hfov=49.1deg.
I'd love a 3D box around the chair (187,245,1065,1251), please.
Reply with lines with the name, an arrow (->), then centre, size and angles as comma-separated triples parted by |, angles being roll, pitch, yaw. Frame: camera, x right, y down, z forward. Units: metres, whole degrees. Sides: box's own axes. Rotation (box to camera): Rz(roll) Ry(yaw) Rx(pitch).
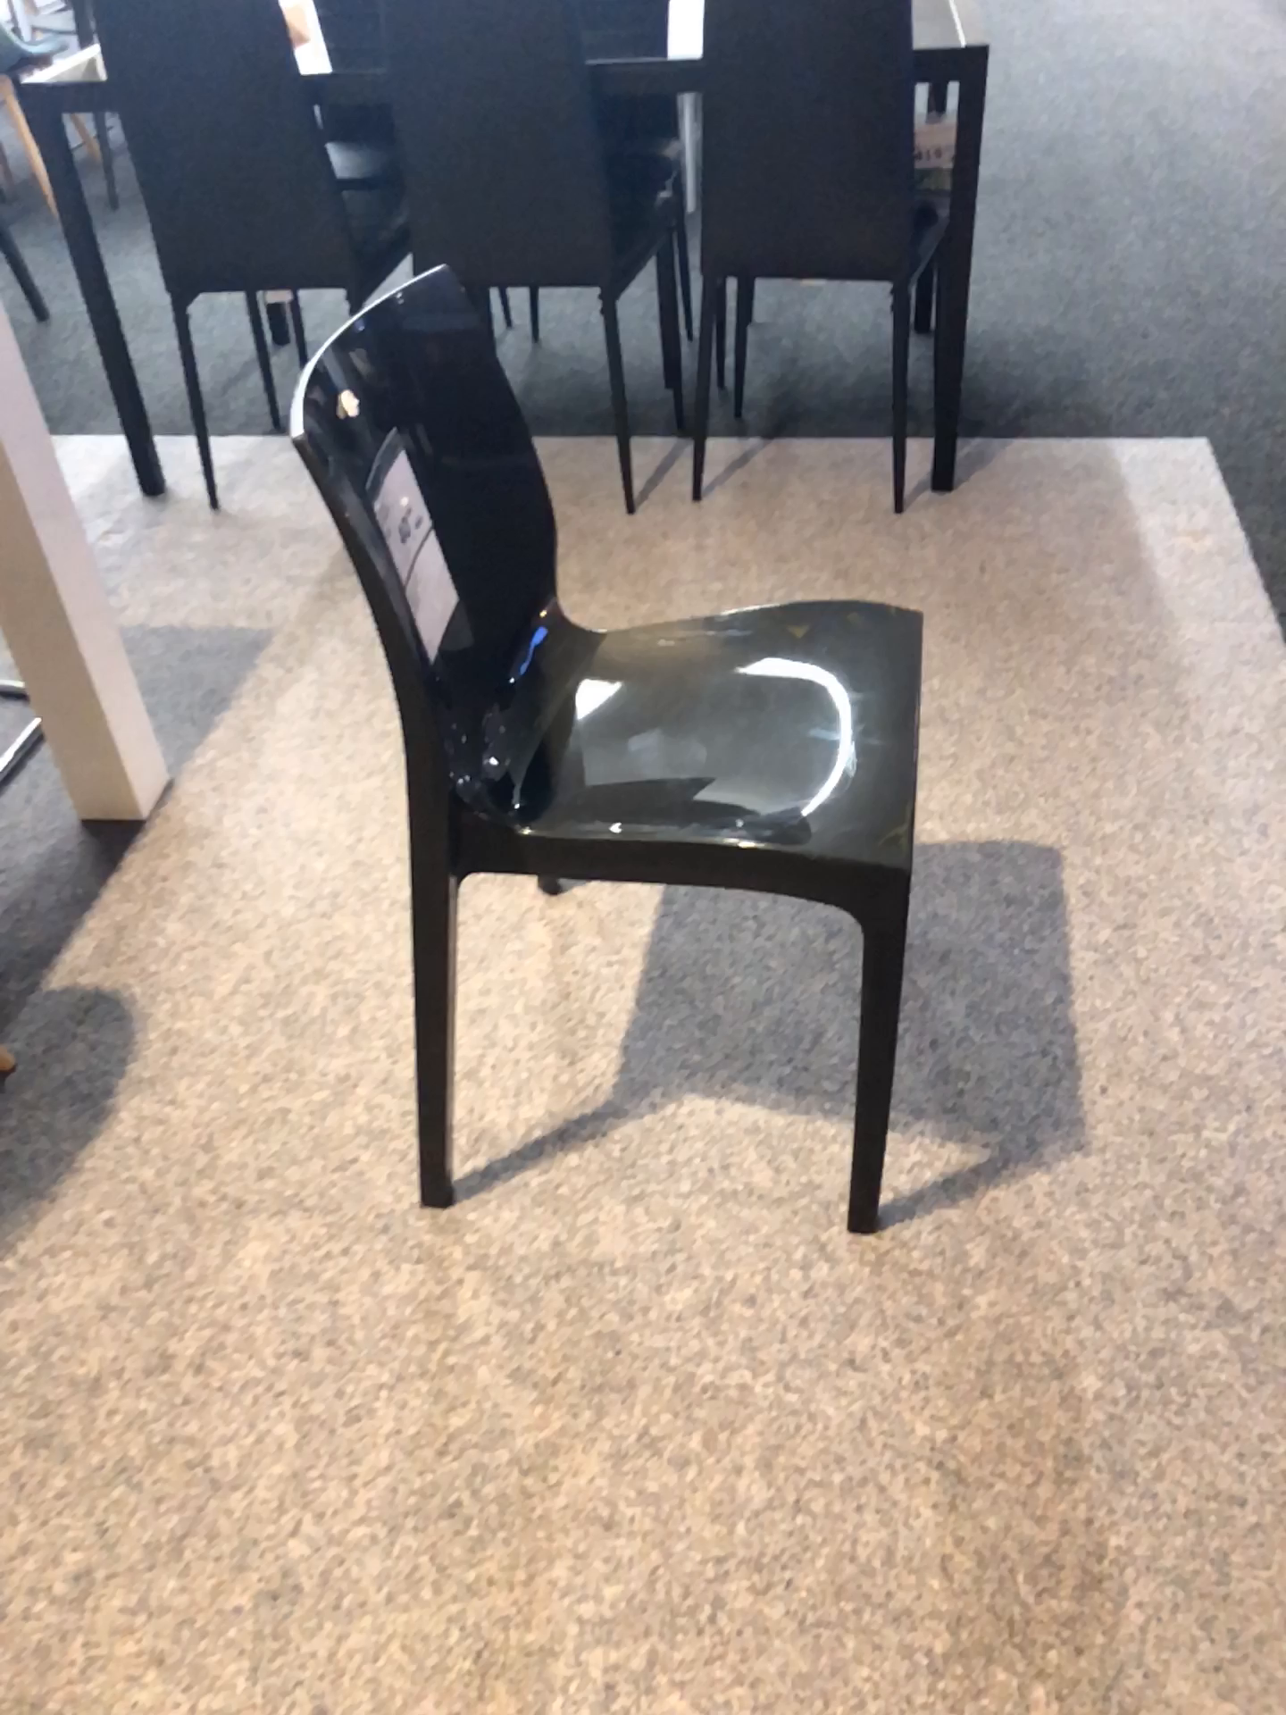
chair -> 0.036, -0.100, 1.342 | 0.570, 0.766, 0.523 | 3, 39, 8
